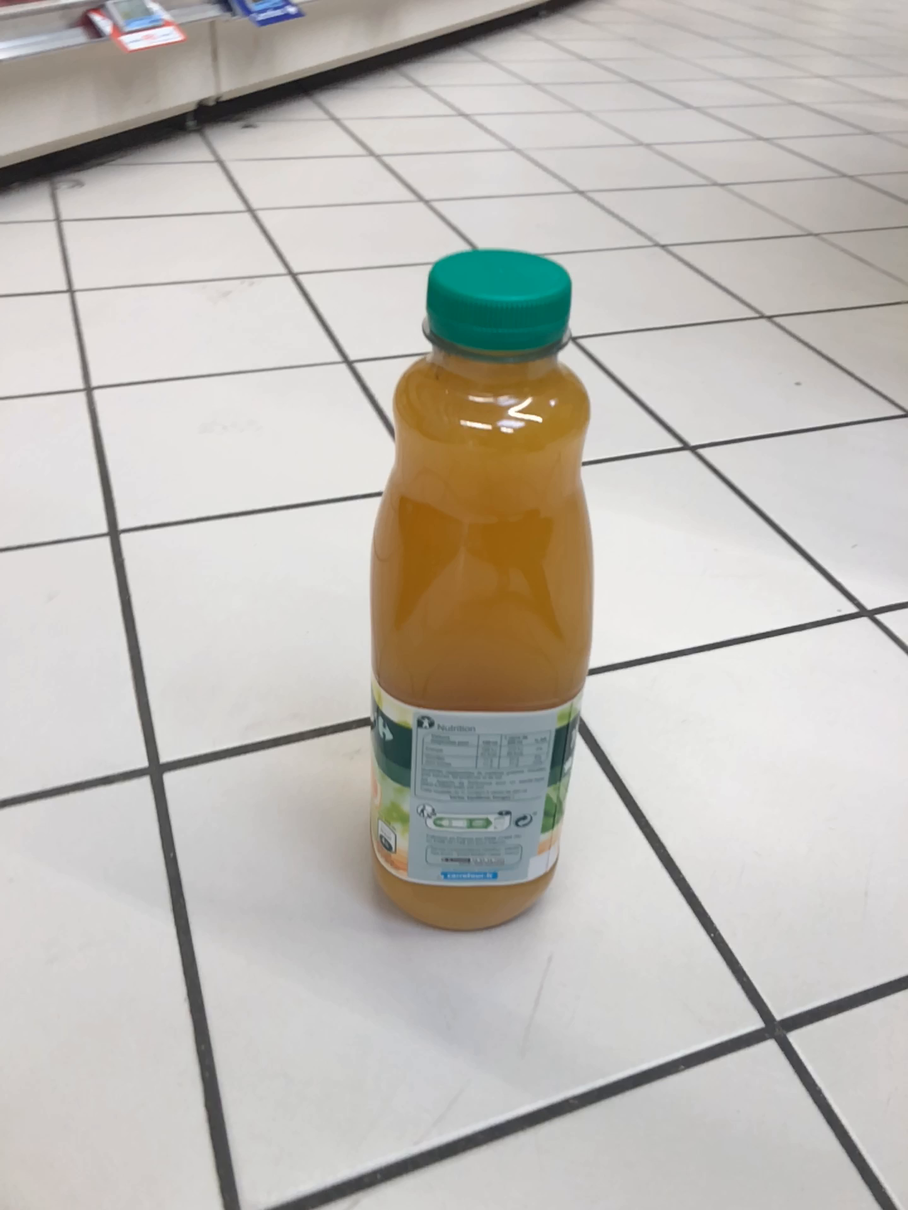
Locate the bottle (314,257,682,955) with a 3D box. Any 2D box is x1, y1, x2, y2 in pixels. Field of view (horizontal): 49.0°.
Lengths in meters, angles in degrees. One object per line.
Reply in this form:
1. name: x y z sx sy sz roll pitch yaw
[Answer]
1. bottle: 0.005 0.015 0.346 0.090 0.239 0.080 2 37 -2
